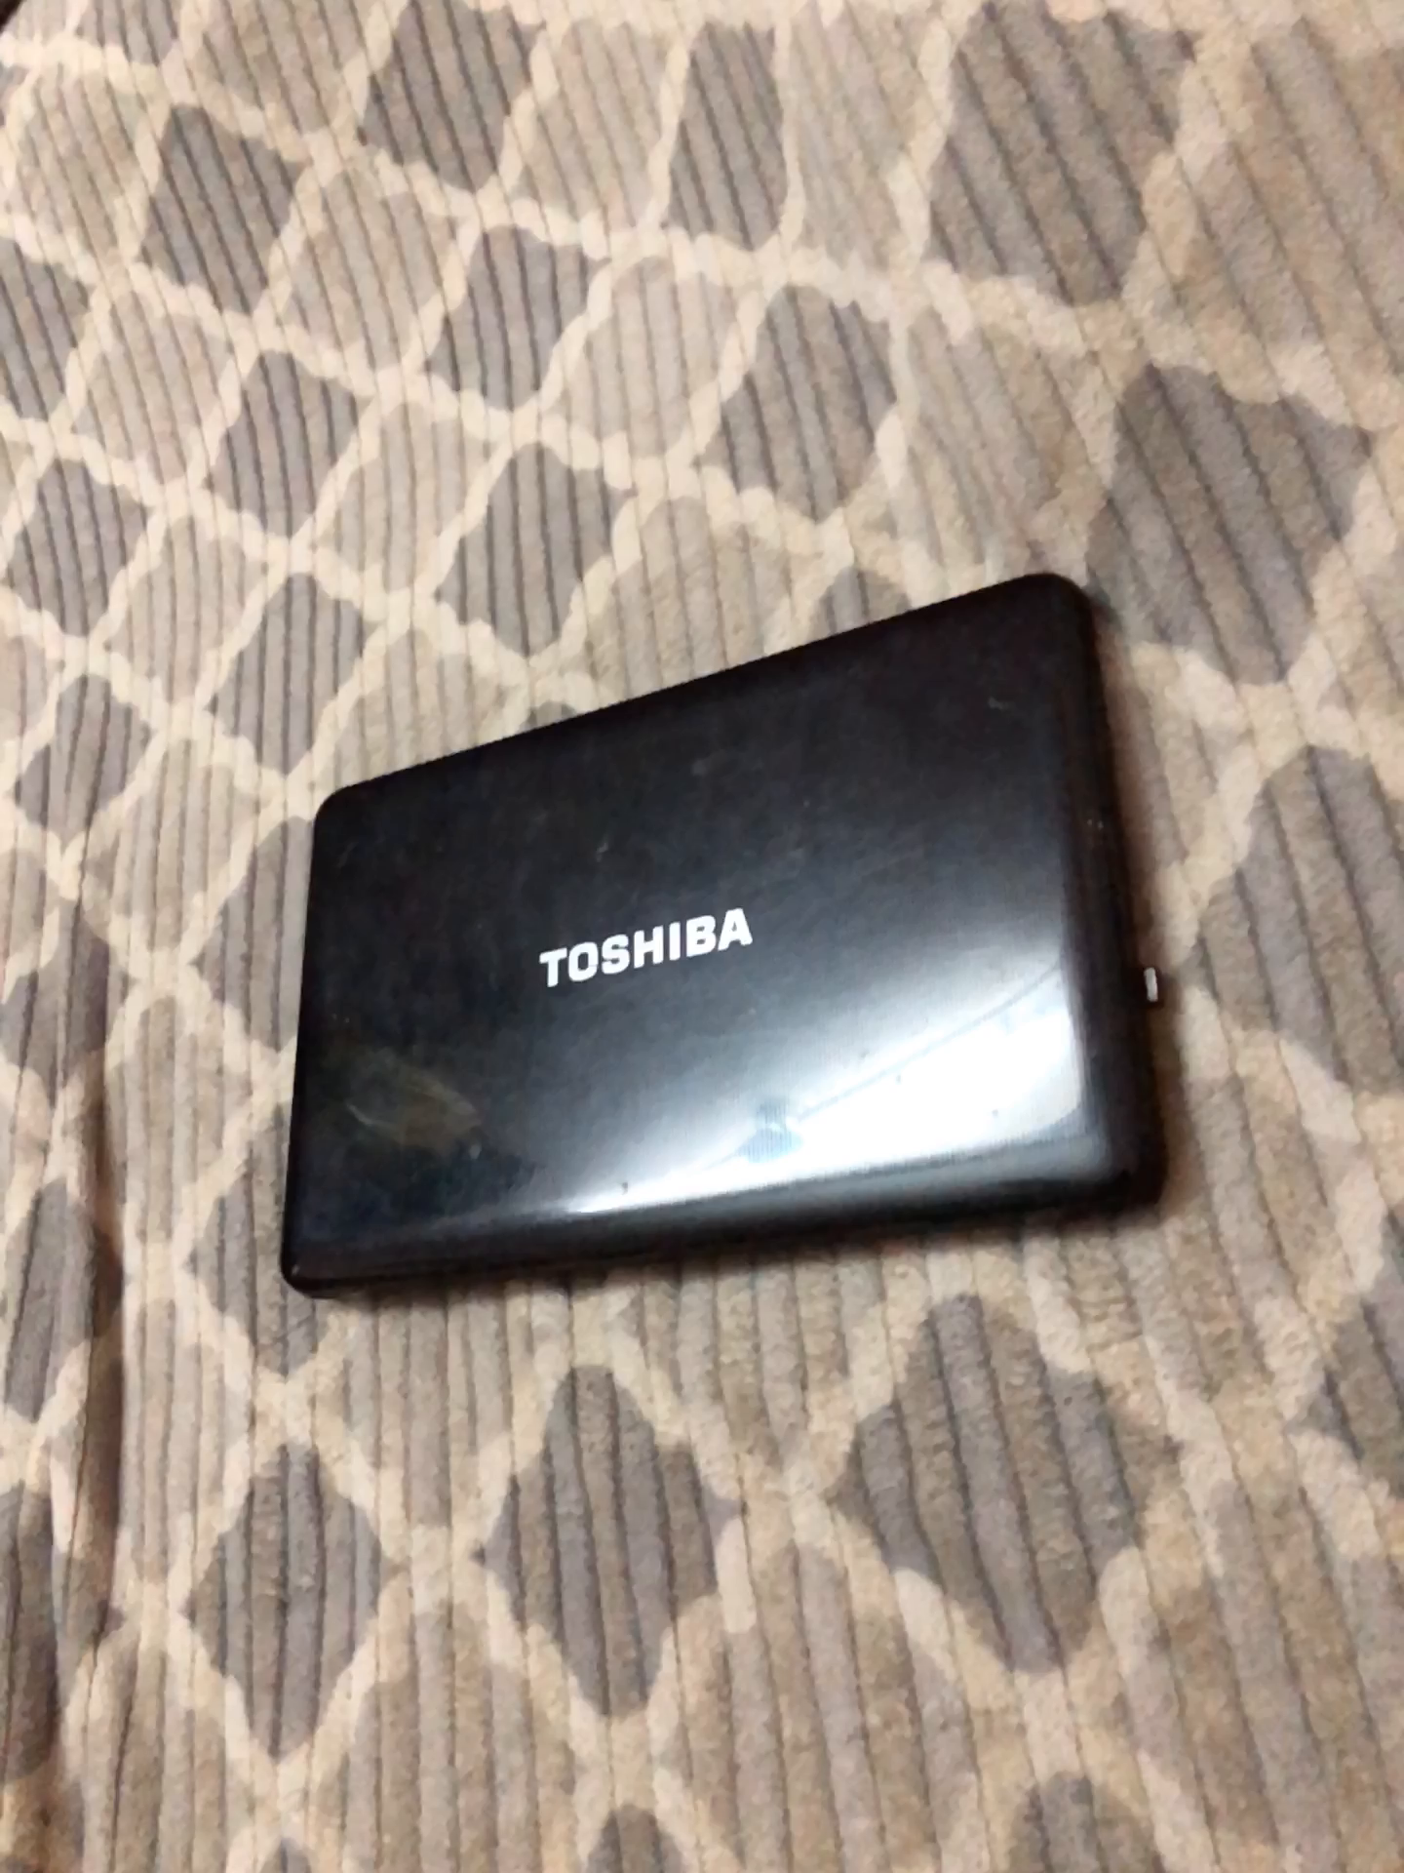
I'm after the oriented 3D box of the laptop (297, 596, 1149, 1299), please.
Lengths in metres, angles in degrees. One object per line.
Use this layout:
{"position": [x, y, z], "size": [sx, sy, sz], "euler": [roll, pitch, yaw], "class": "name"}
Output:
{"position": [-0.013, 0.015, 0.661], "size": [0.376, 0.023, 0.249], "euler": [-13, 63, 28], "class": "laptop"}
